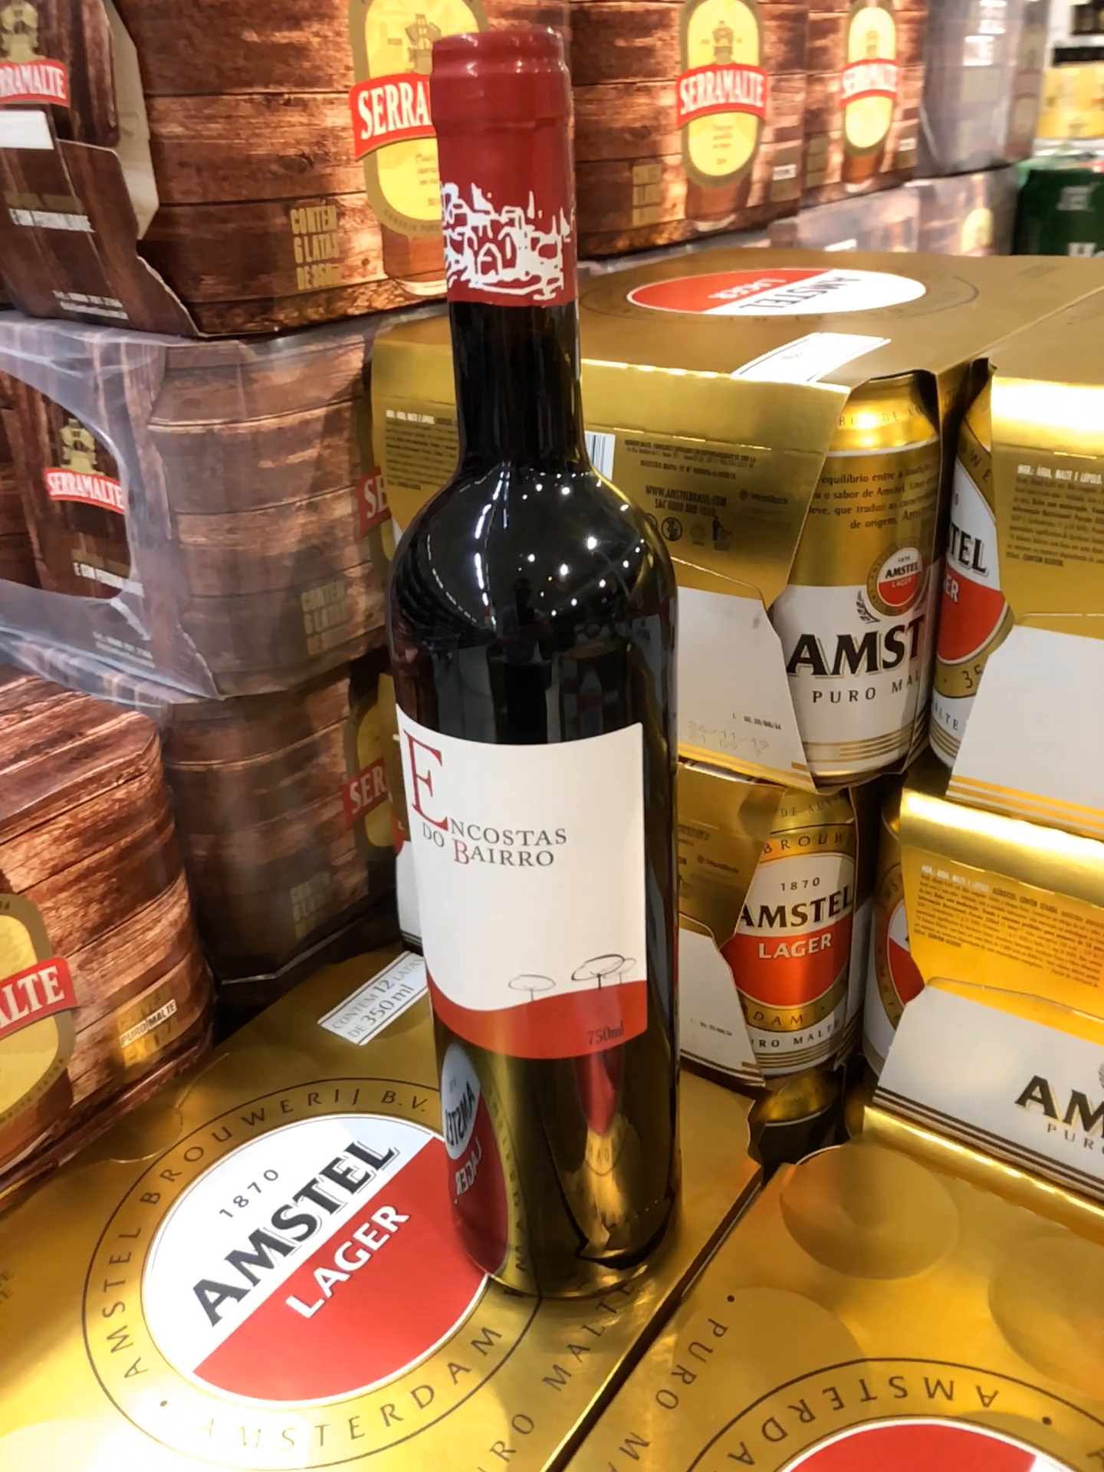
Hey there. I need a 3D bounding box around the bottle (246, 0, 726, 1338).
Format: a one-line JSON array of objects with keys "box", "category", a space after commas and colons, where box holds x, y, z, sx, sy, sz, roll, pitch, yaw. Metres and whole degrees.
[{"box": [-0.002, 0.004, 0.305, 0.070, 0.318, 0.070, -2, 27, 1], "category": "bottle"}]
